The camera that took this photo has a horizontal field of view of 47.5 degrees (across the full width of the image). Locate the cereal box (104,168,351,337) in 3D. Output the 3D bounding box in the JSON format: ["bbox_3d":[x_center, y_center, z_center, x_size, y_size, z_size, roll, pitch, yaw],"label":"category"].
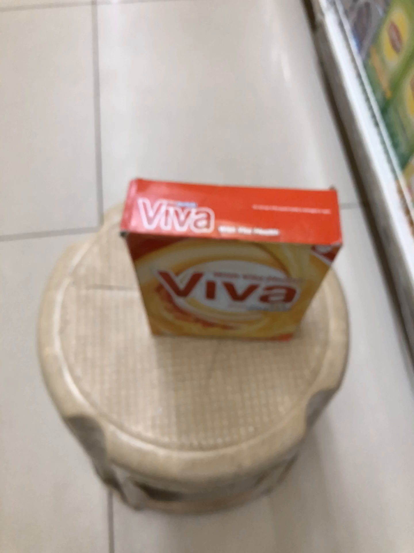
[{"bbox_3d":[0.012,-0.006,0.405,0.160,0.199,0.050,3,65,0],"label":"cereal box"}]
